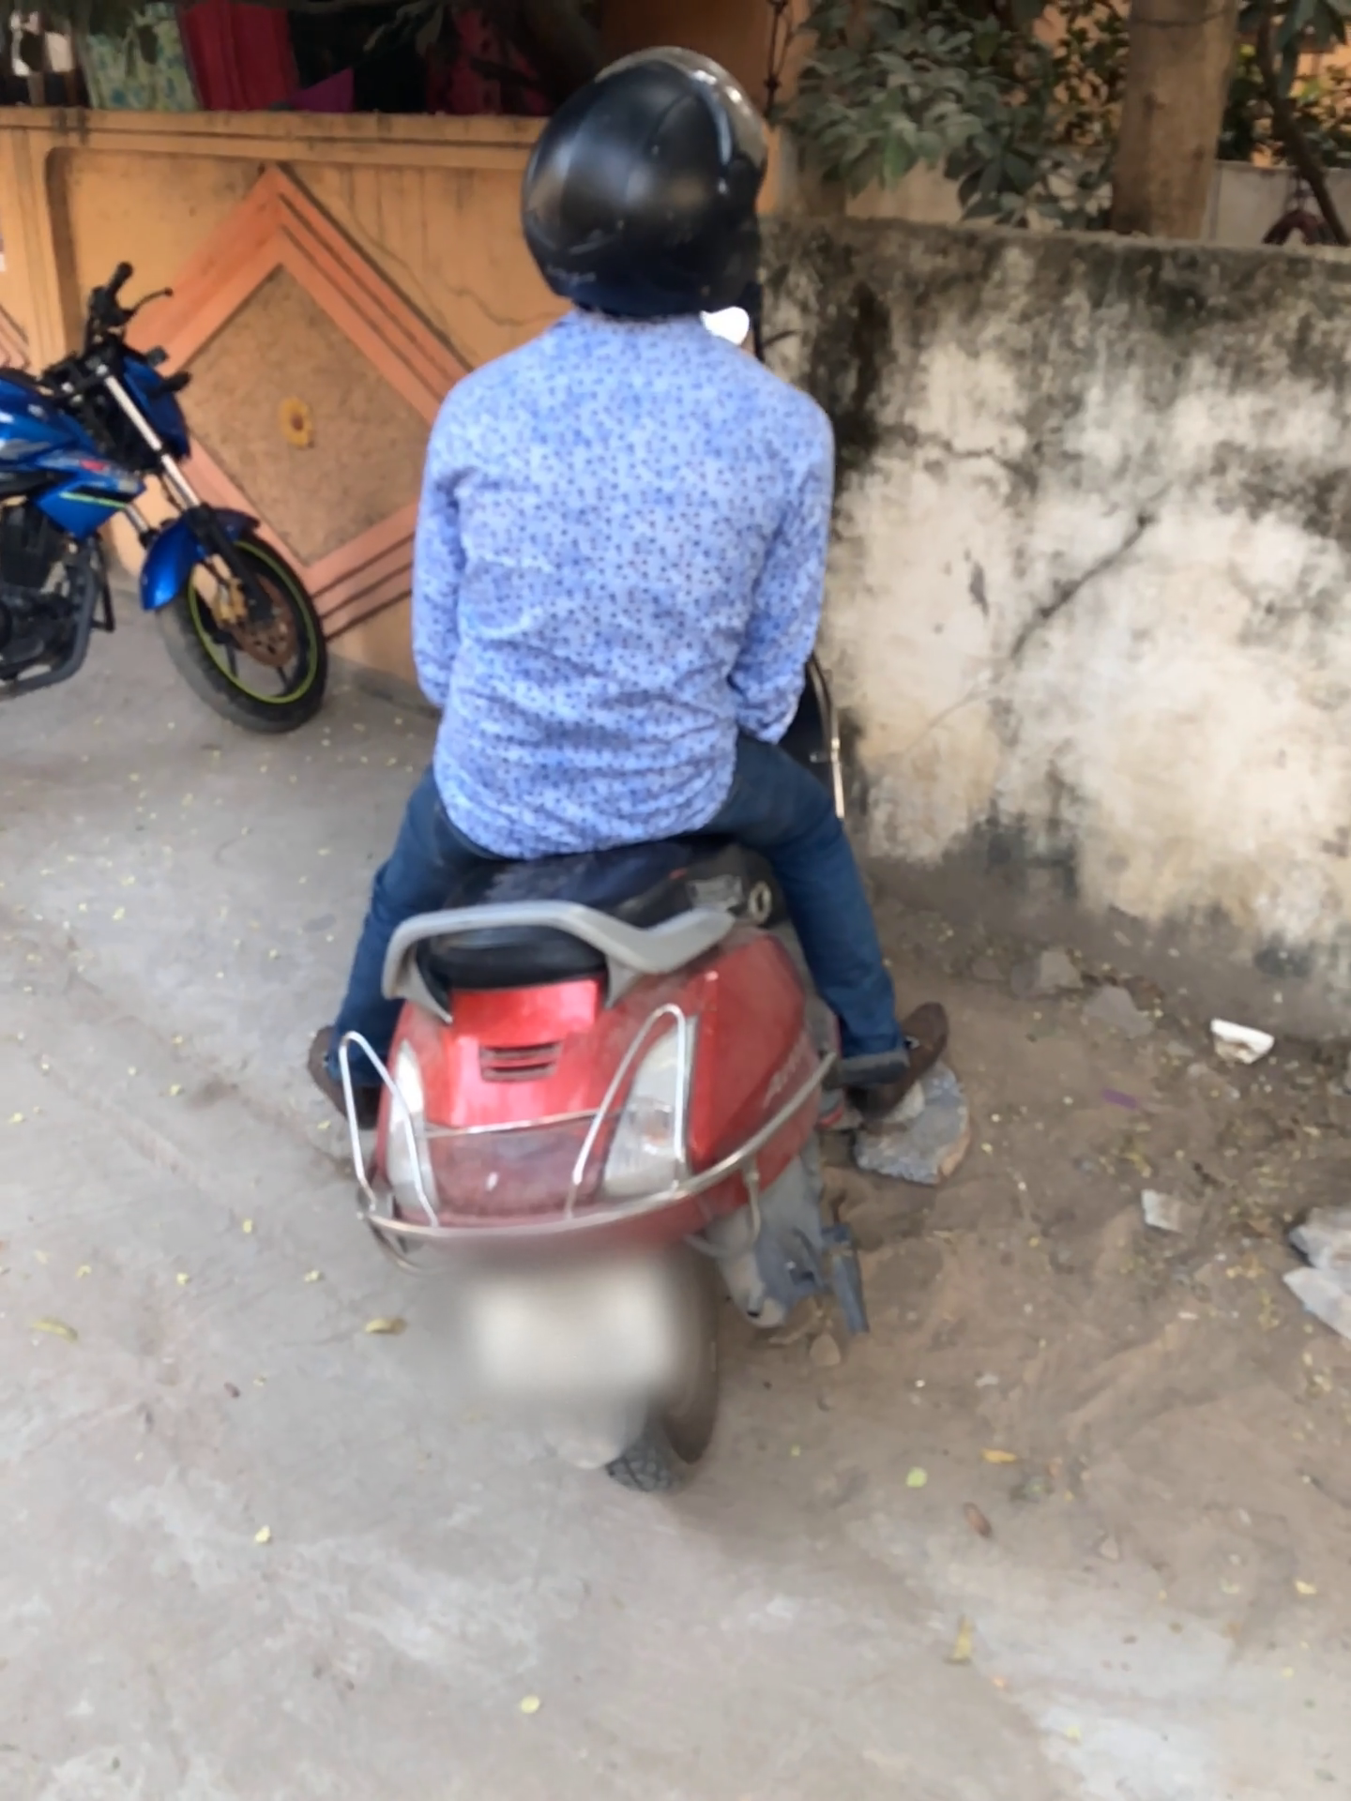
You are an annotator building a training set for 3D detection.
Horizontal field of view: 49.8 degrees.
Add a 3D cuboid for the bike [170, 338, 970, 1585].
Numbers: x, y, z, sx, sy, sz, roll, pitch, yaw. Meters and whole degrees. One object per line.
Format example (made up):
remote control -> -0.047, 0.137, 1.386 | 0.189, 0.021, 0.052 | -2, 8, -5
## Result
bike -> -0.107, -0.087, 2.215 | 0.722, 1.165, 1.509 | 4, 29, 1
